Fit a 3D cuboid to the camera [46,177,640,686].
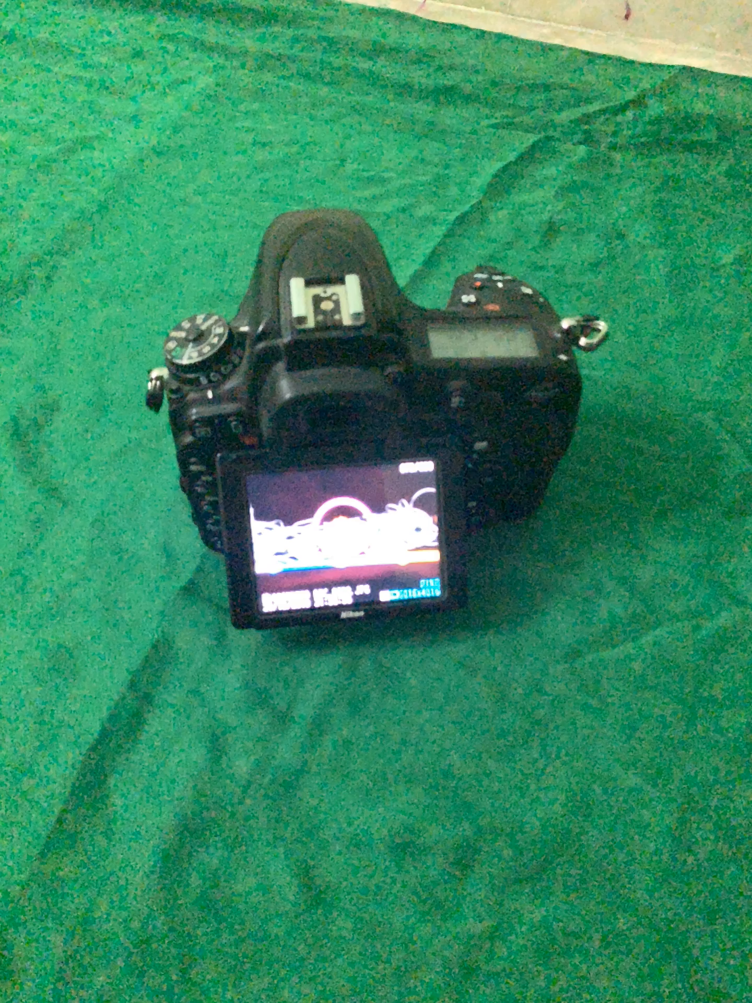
[{"bbox_3d":[-0.013,-0.025,0.261,0.142,0.100,0.129,-5,53,-3],"label":"camera"}]
